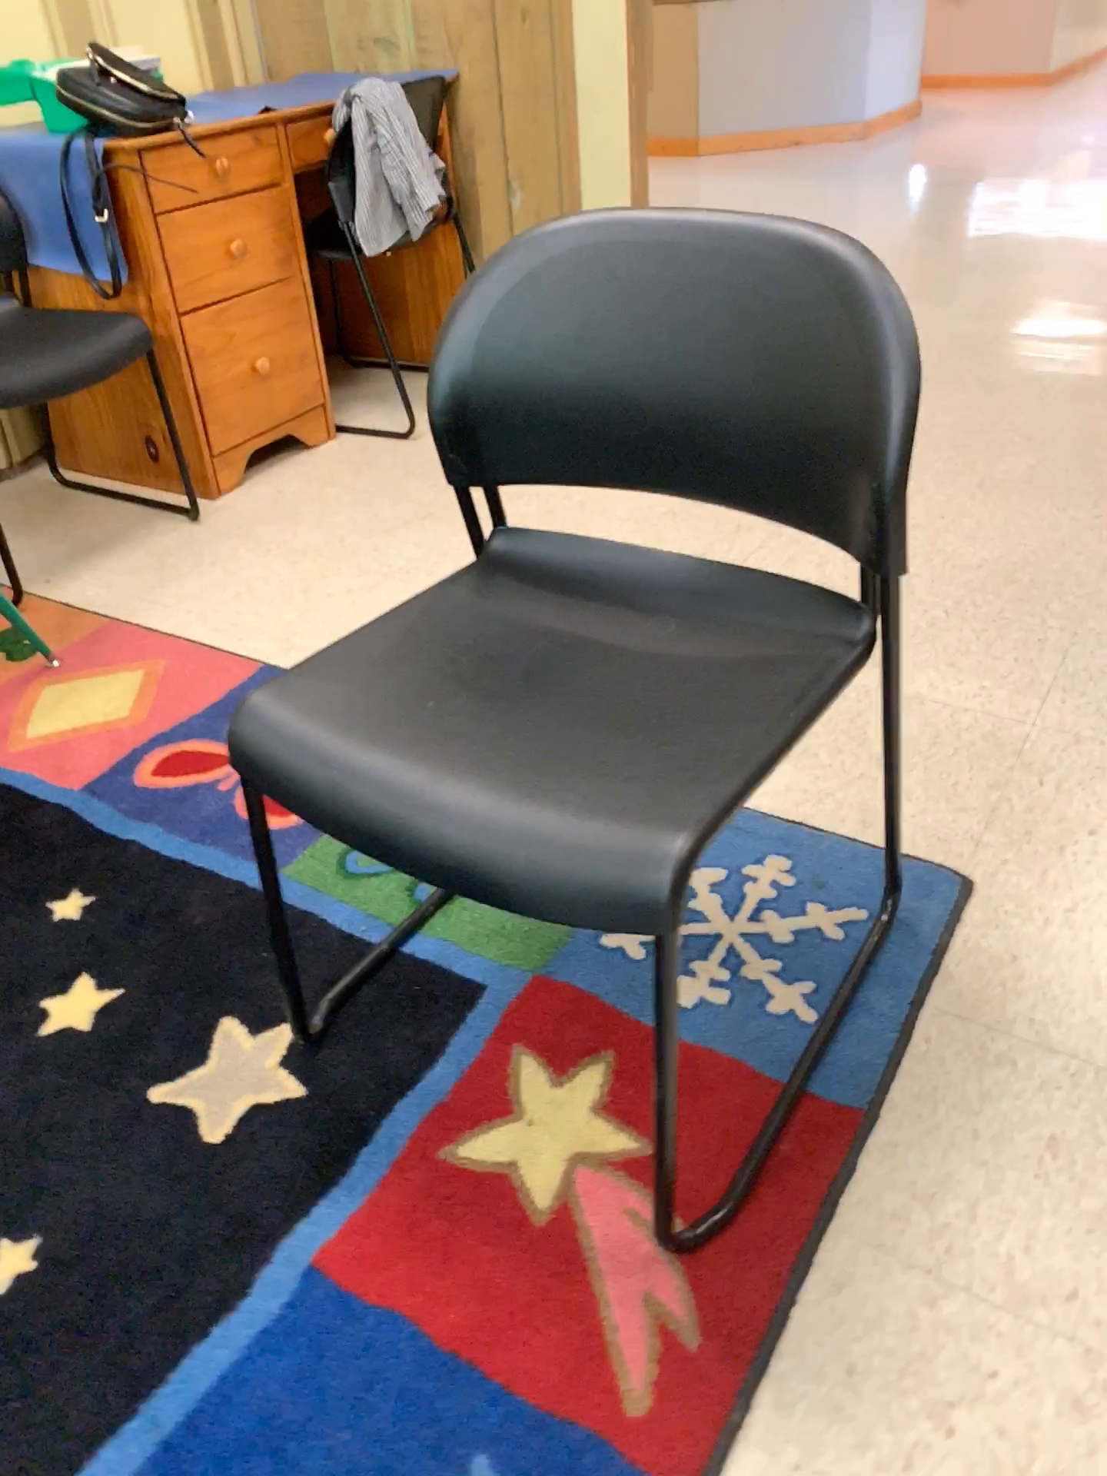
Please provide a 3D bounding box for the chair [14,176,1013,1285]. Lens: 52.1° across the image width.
[{"bbox_3d":[0.017,-0.057,1.082,0.571,0.785,0.532,16,38,27],"label":"chair"}]
